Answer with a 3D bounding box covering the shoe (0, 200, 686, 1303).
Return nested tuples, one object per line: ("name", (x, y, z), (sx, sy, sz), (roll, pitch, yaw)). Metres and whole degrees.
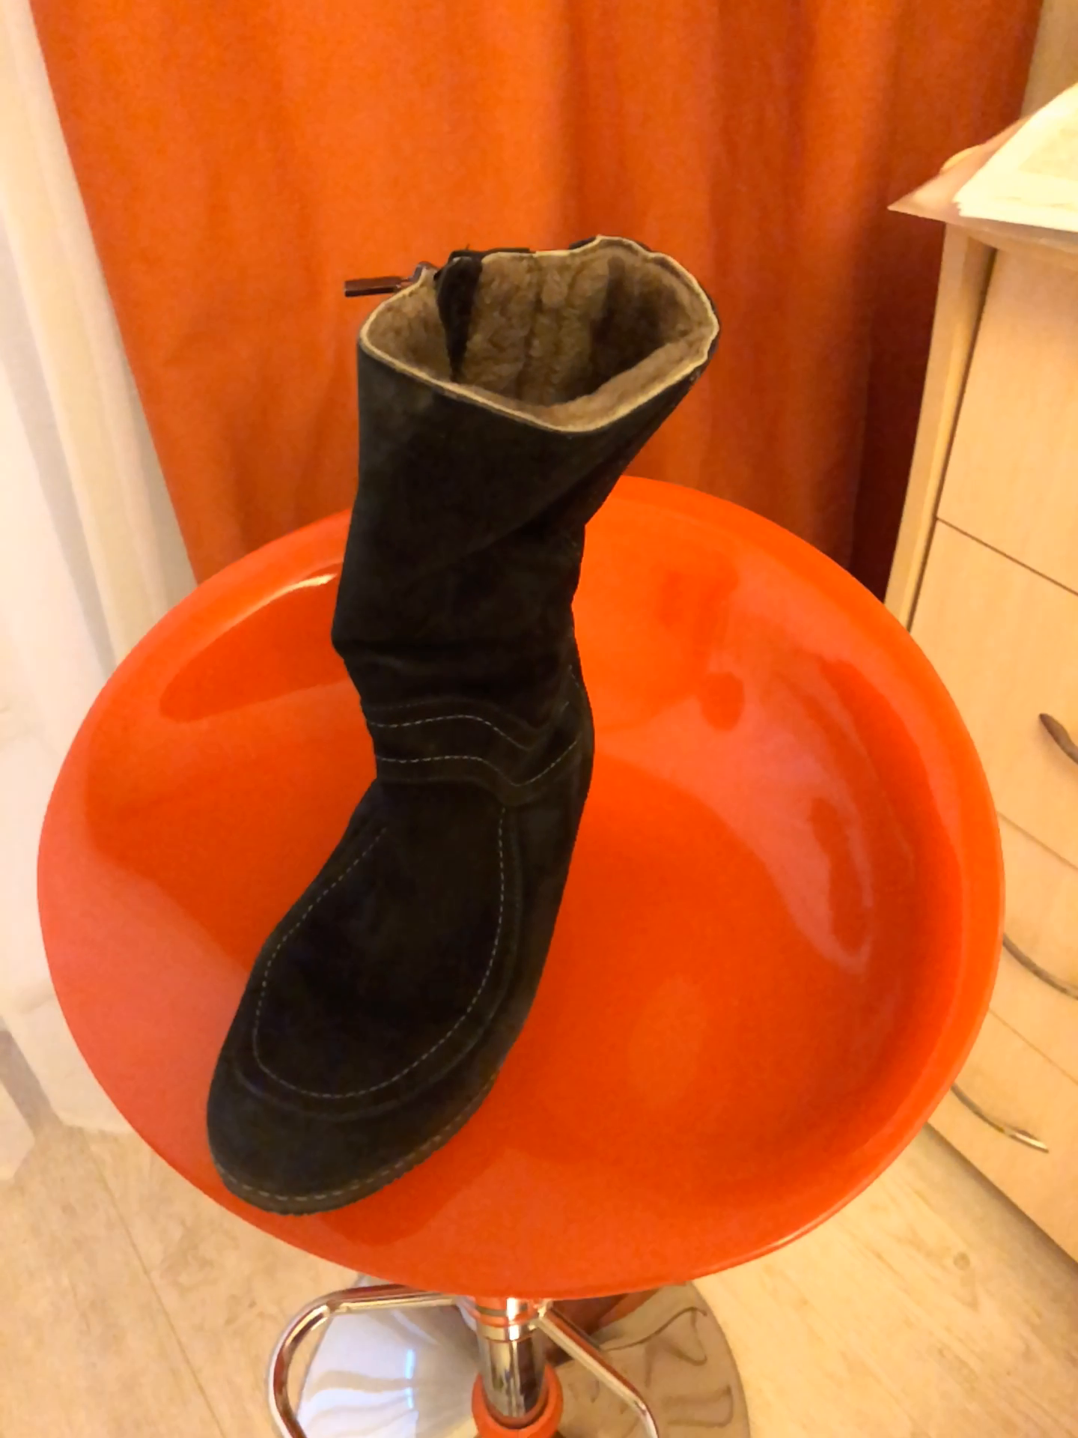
("shoe", (-0.038, 0.000, 0.401), (0.100, 0.248, 0.262), (12, 43, 15))
